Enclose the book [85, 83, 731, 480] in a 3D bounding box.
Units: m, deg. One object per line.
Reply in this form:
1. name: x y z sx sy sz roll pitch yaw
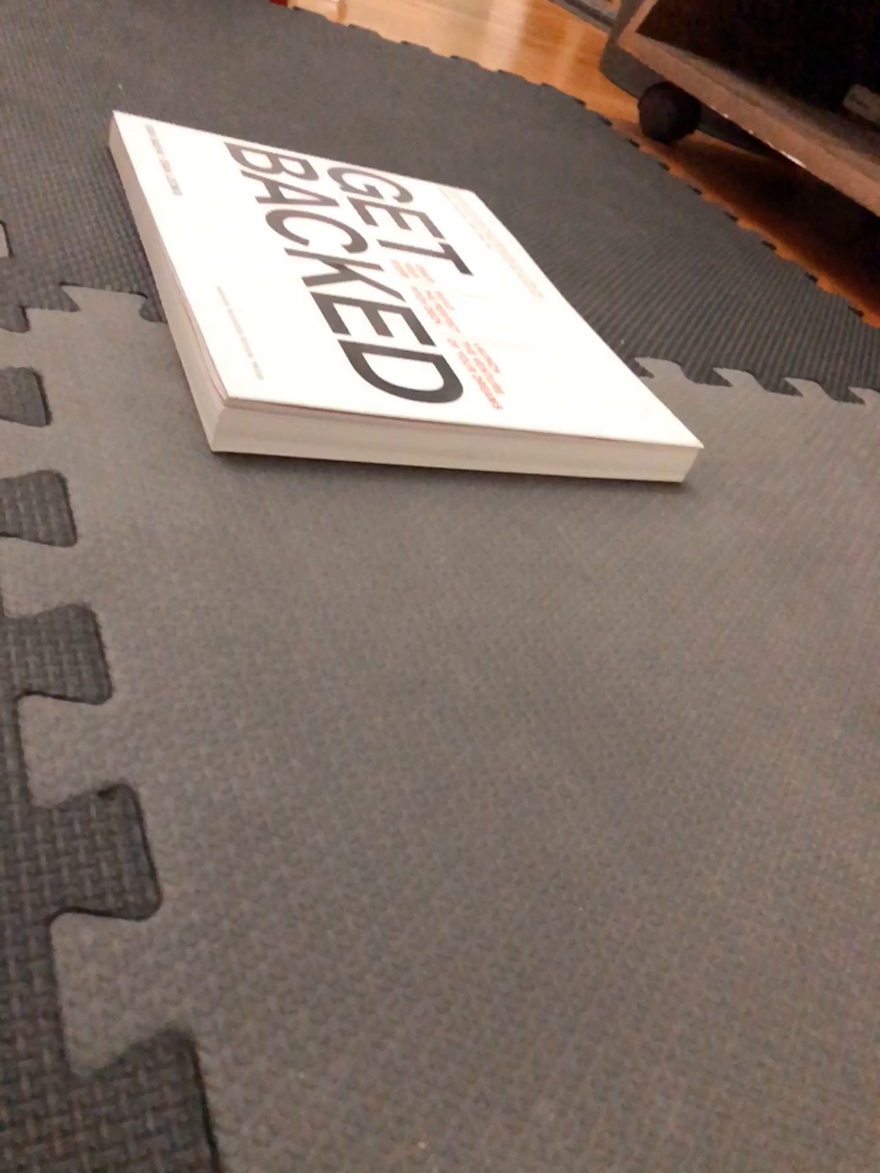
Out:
1. book: -0.027 -0.138 0.421 0.210 0.020 0.261 0 43 -28
